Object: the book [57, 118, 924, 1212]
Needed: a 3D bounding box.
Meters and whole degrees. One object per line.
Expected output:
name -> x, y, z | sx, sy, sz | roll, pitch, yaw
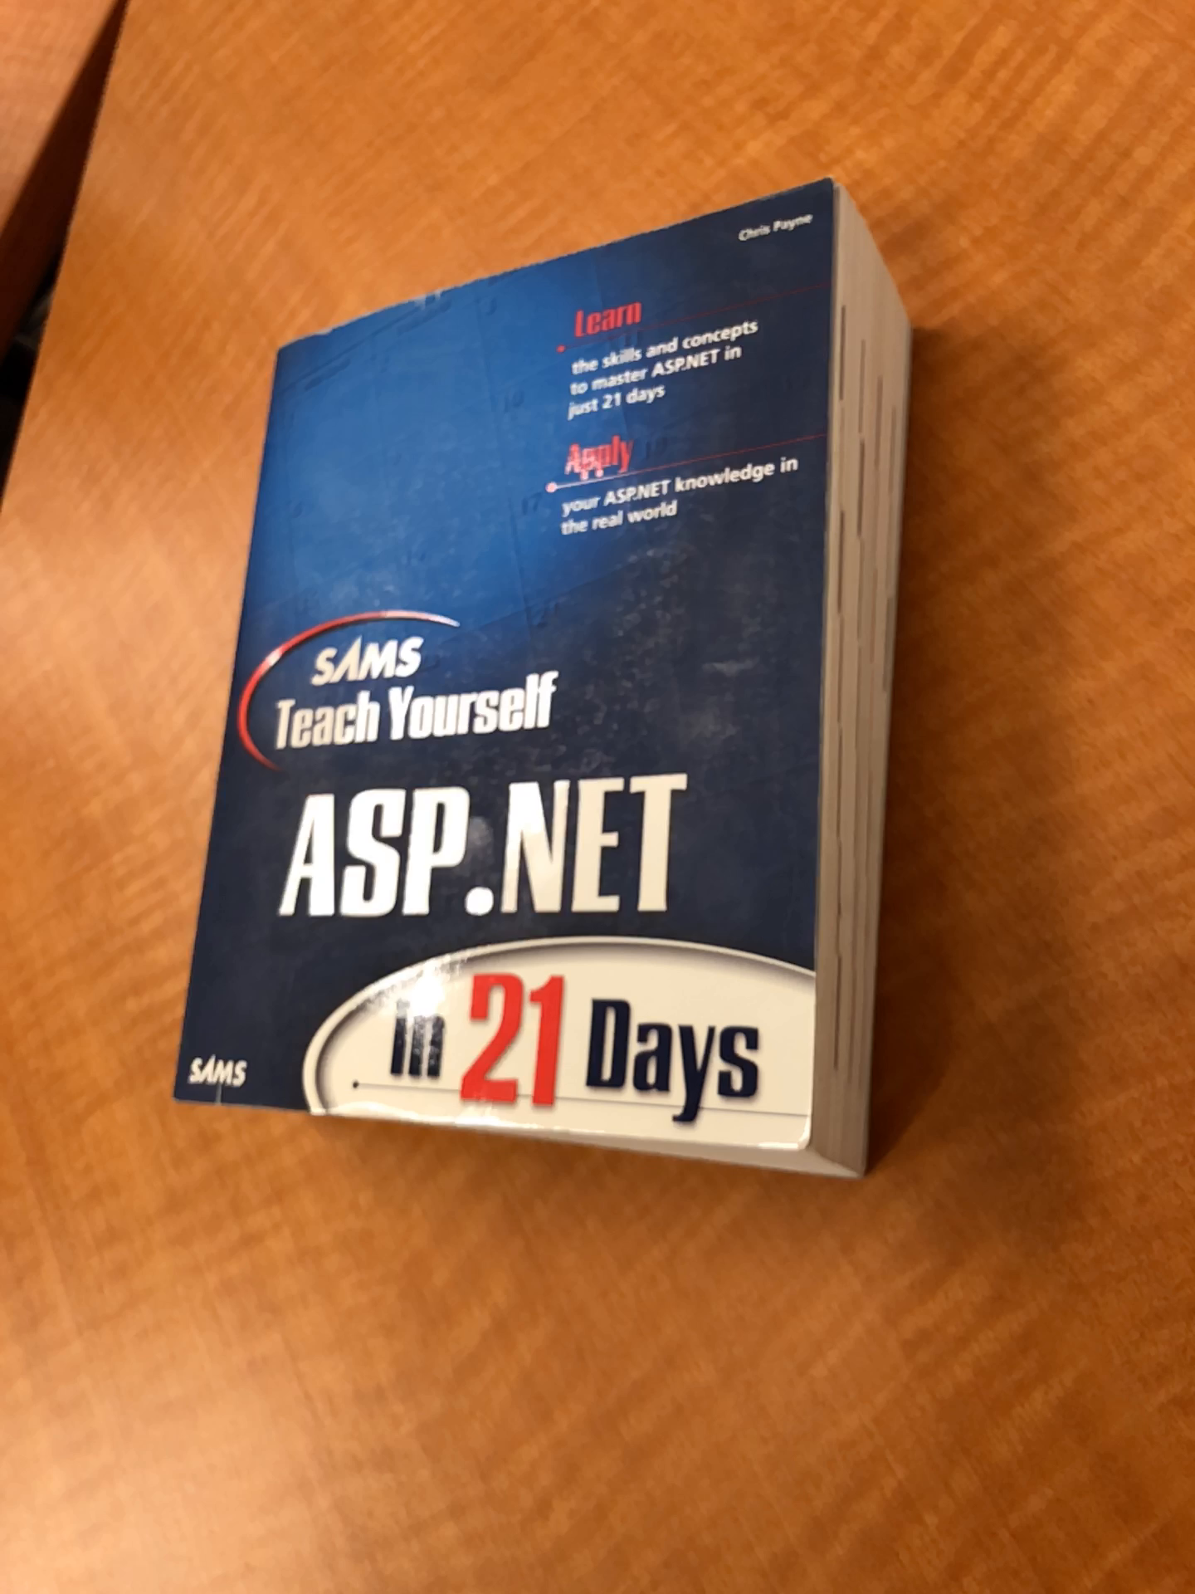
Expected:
book -> -0.027, -0.029, 0.358 | 0.201, 0.070, 0.240 | 0, 77, 29
